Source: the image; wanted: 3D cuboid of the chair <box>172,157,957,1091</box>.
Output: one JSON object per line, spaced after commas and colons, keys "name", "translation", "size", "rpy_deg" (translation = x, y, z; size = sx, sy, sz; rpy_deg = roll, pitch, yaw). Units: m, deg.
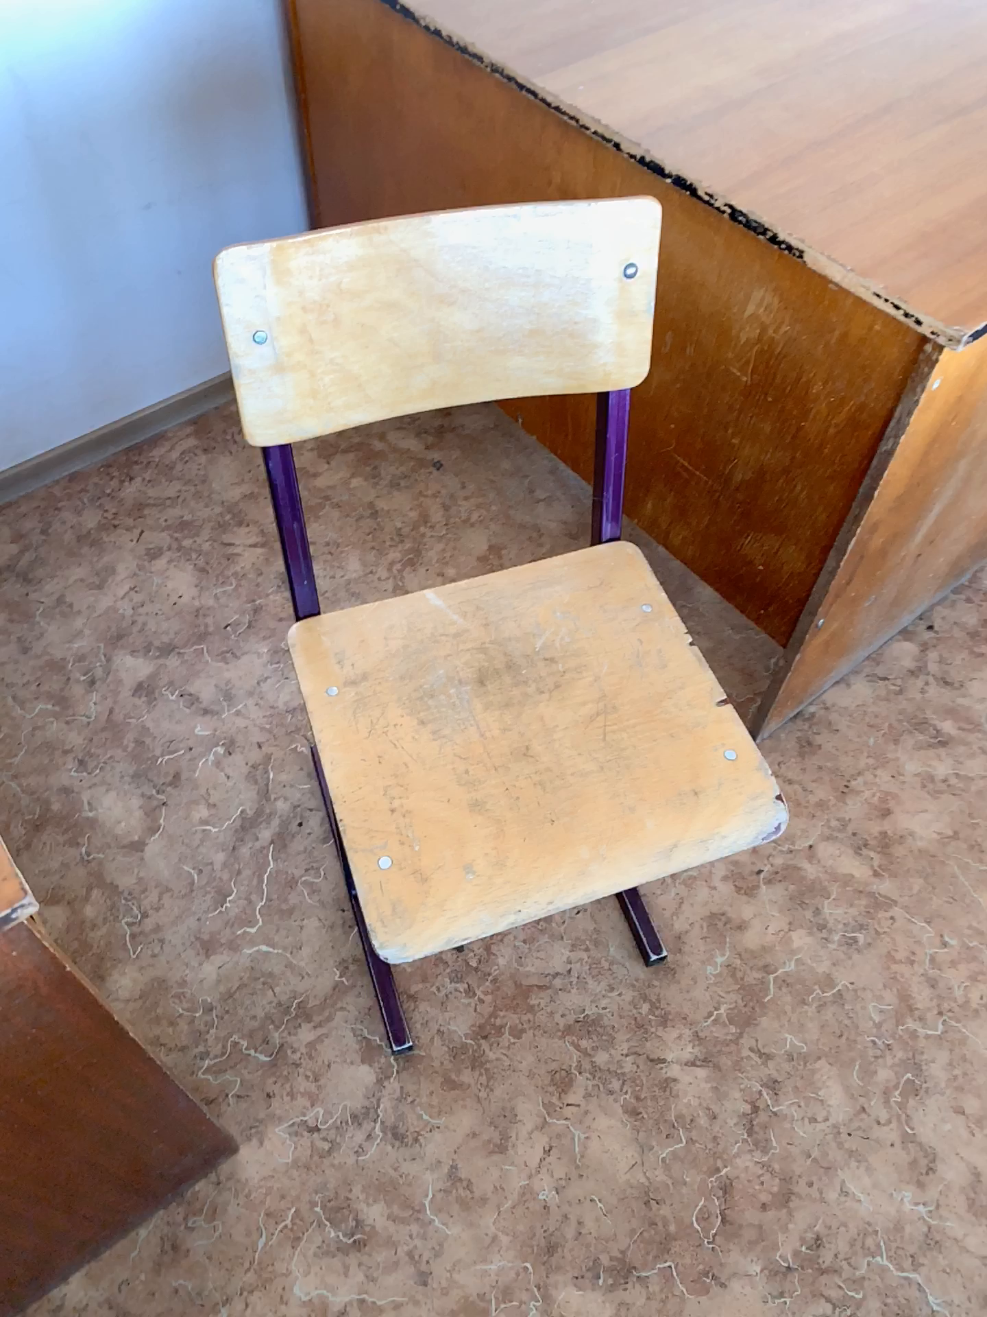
{"name": "chair", "translation": [0.002, 0.025, 0.967], "size": [0.380, 0.735, 0.473], "rpy_deg": [-14, 56, -12]}
